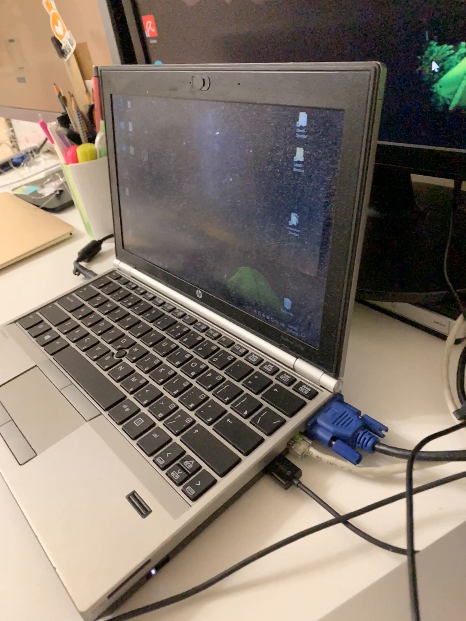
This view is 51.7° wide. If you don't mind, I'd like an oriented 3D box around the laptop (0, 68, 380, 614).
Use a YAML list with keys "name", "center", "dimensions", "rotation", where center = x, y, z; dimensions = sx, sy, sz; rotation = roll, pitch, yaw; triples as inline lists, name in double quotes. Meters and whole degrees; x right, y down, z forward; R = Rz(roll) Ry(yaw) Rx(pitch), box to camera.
- name: "laptop"
  center: [-0.092, -0.037, 0.320]
  dimensions: [0.226, 0.176, 0.285]
  rotation: [-32, 39, -28]
